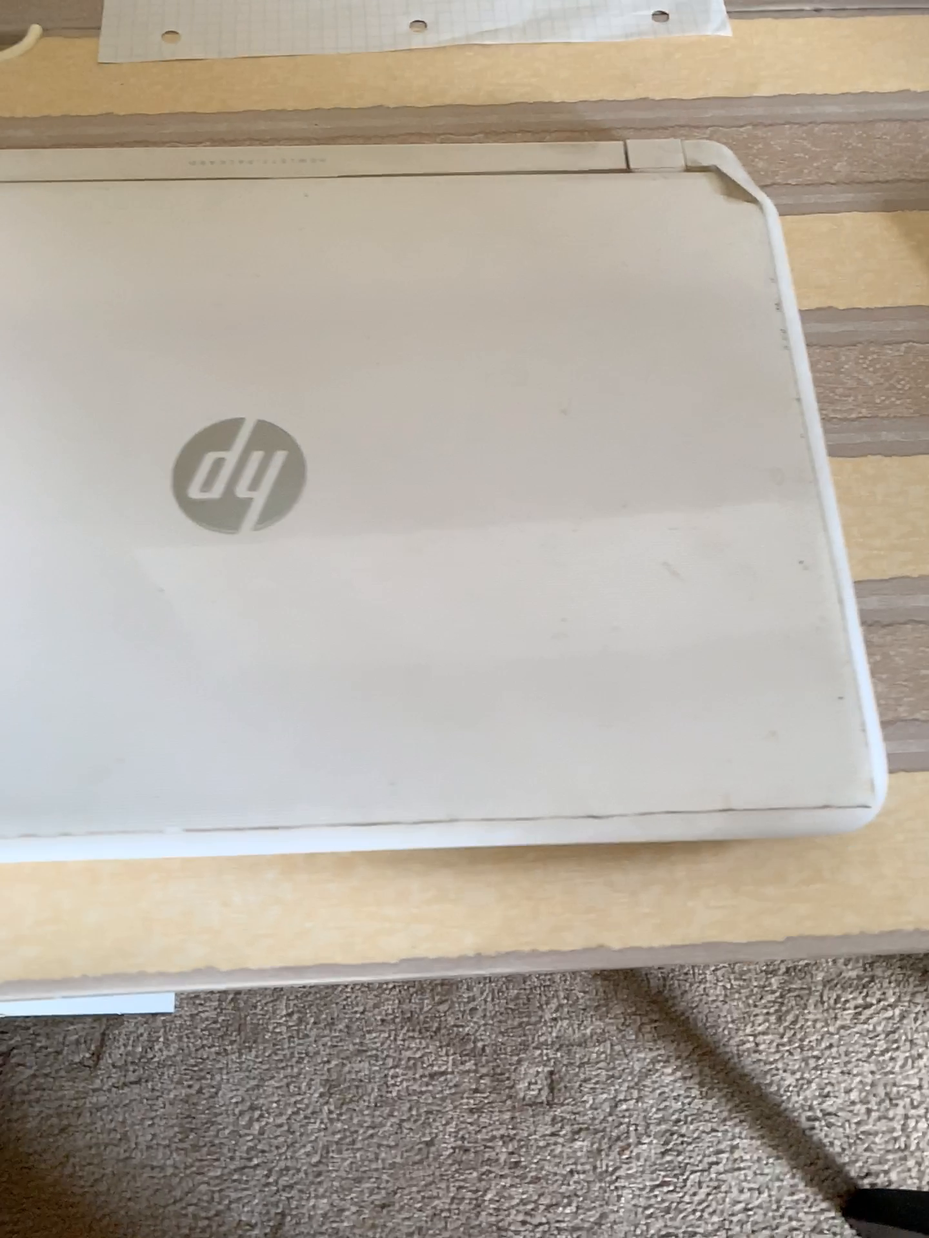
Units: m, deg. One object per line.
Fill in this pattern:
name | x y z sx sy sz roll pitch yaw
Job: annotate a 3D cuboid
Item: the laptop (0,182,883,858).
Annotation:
laptop | -0.069 -0.047 0.304 0.363 0.002 0.229 -2 68 0
